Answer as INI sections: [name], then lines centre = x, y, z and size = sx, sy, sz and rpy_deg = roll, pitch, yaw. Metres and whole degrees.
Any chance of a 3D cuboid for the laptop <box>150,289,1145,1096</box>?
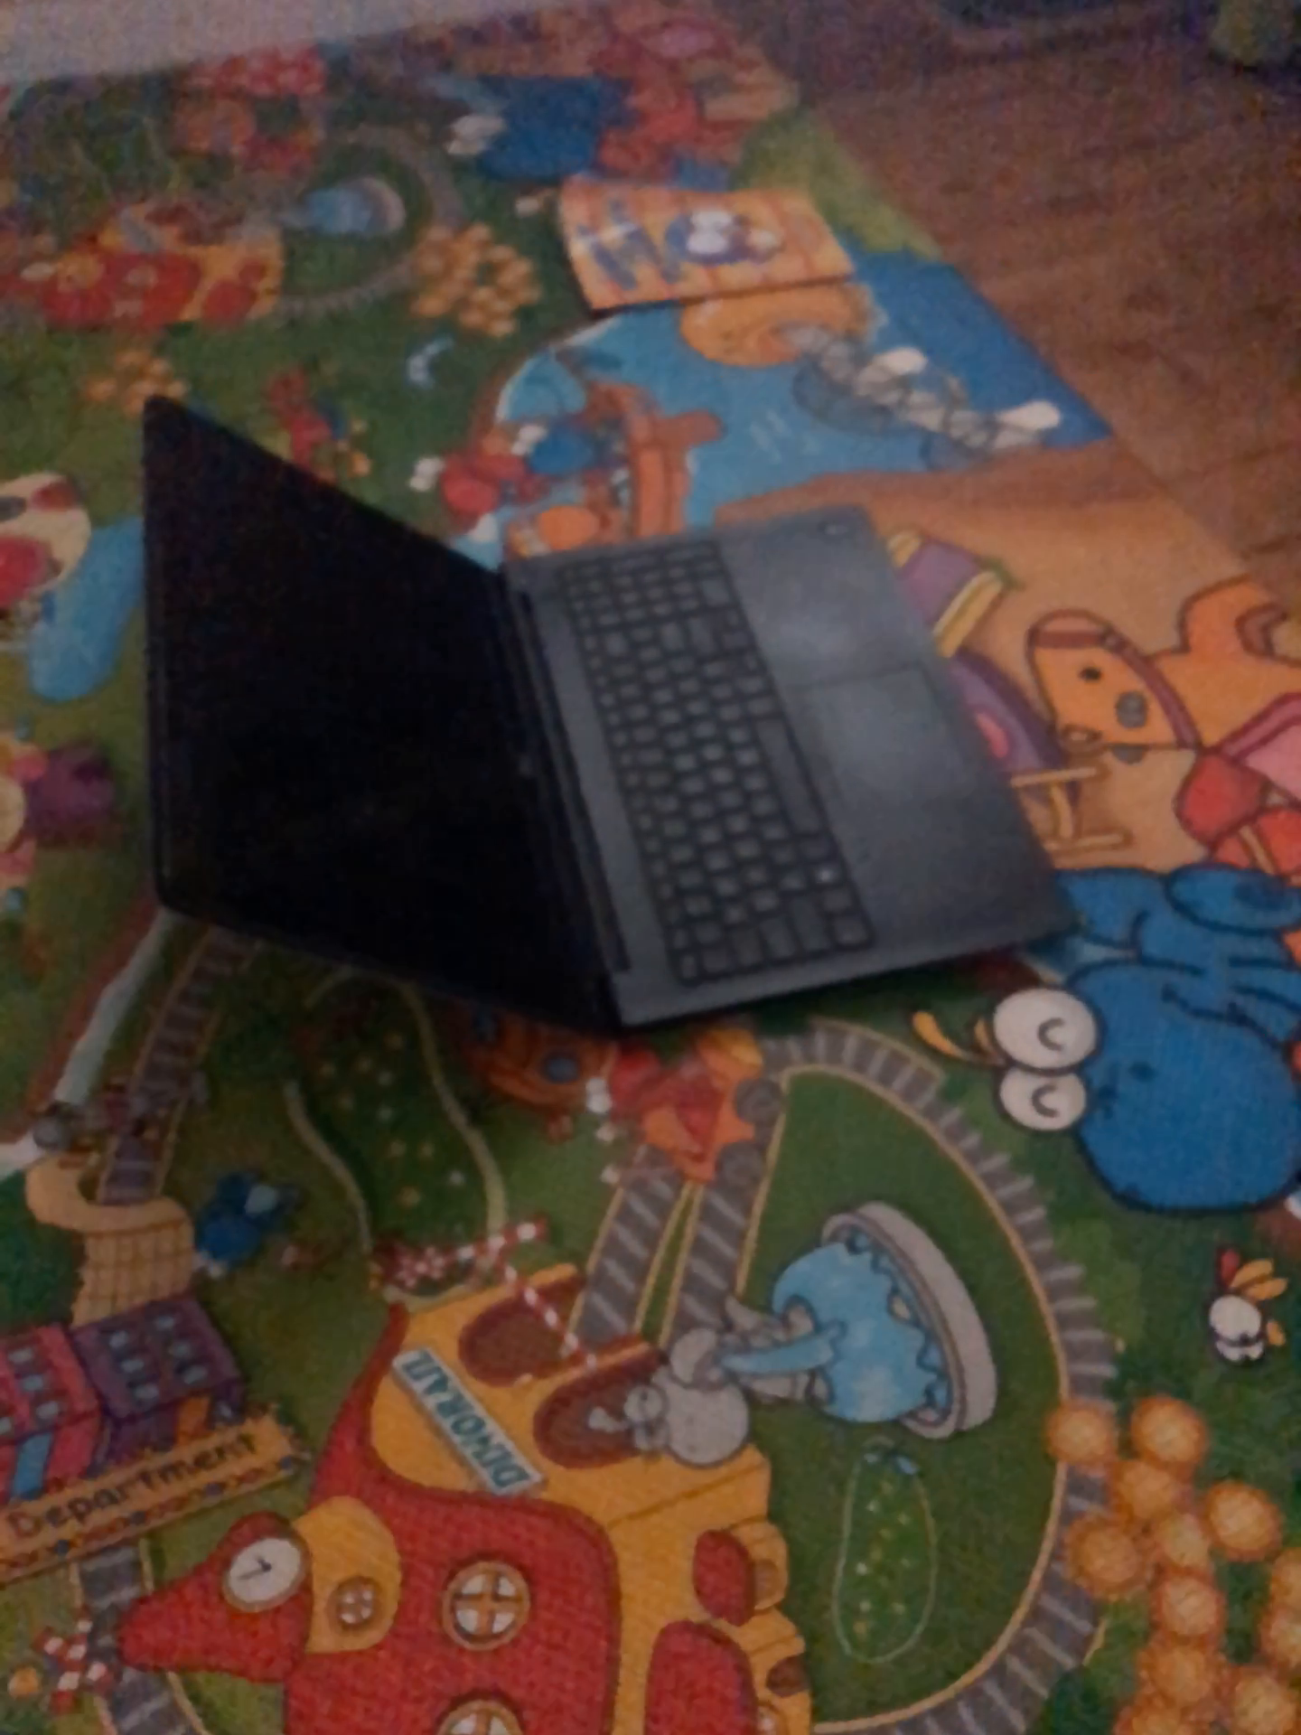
[laptop]
centre = -0.027, -0.117, 0.783
size = 0.428, 0.158, 0.363
rpy_deg = -11, 52, -8
